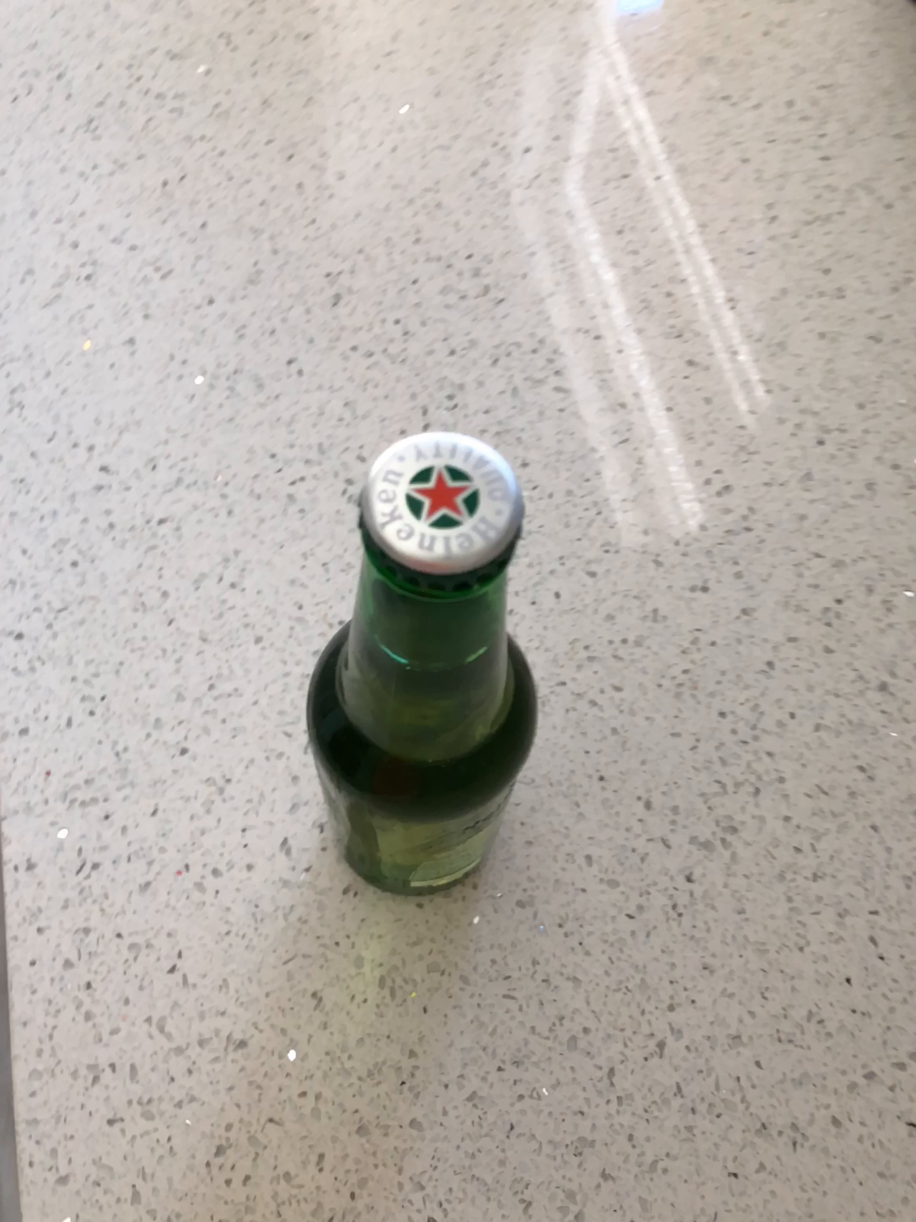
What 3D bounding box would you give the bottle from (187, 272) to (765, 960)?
[{"bbox_3d":[0.001,0.027,0.257,0.070,0.210,0.070,1,65,-2],"label":"bottle"}]
